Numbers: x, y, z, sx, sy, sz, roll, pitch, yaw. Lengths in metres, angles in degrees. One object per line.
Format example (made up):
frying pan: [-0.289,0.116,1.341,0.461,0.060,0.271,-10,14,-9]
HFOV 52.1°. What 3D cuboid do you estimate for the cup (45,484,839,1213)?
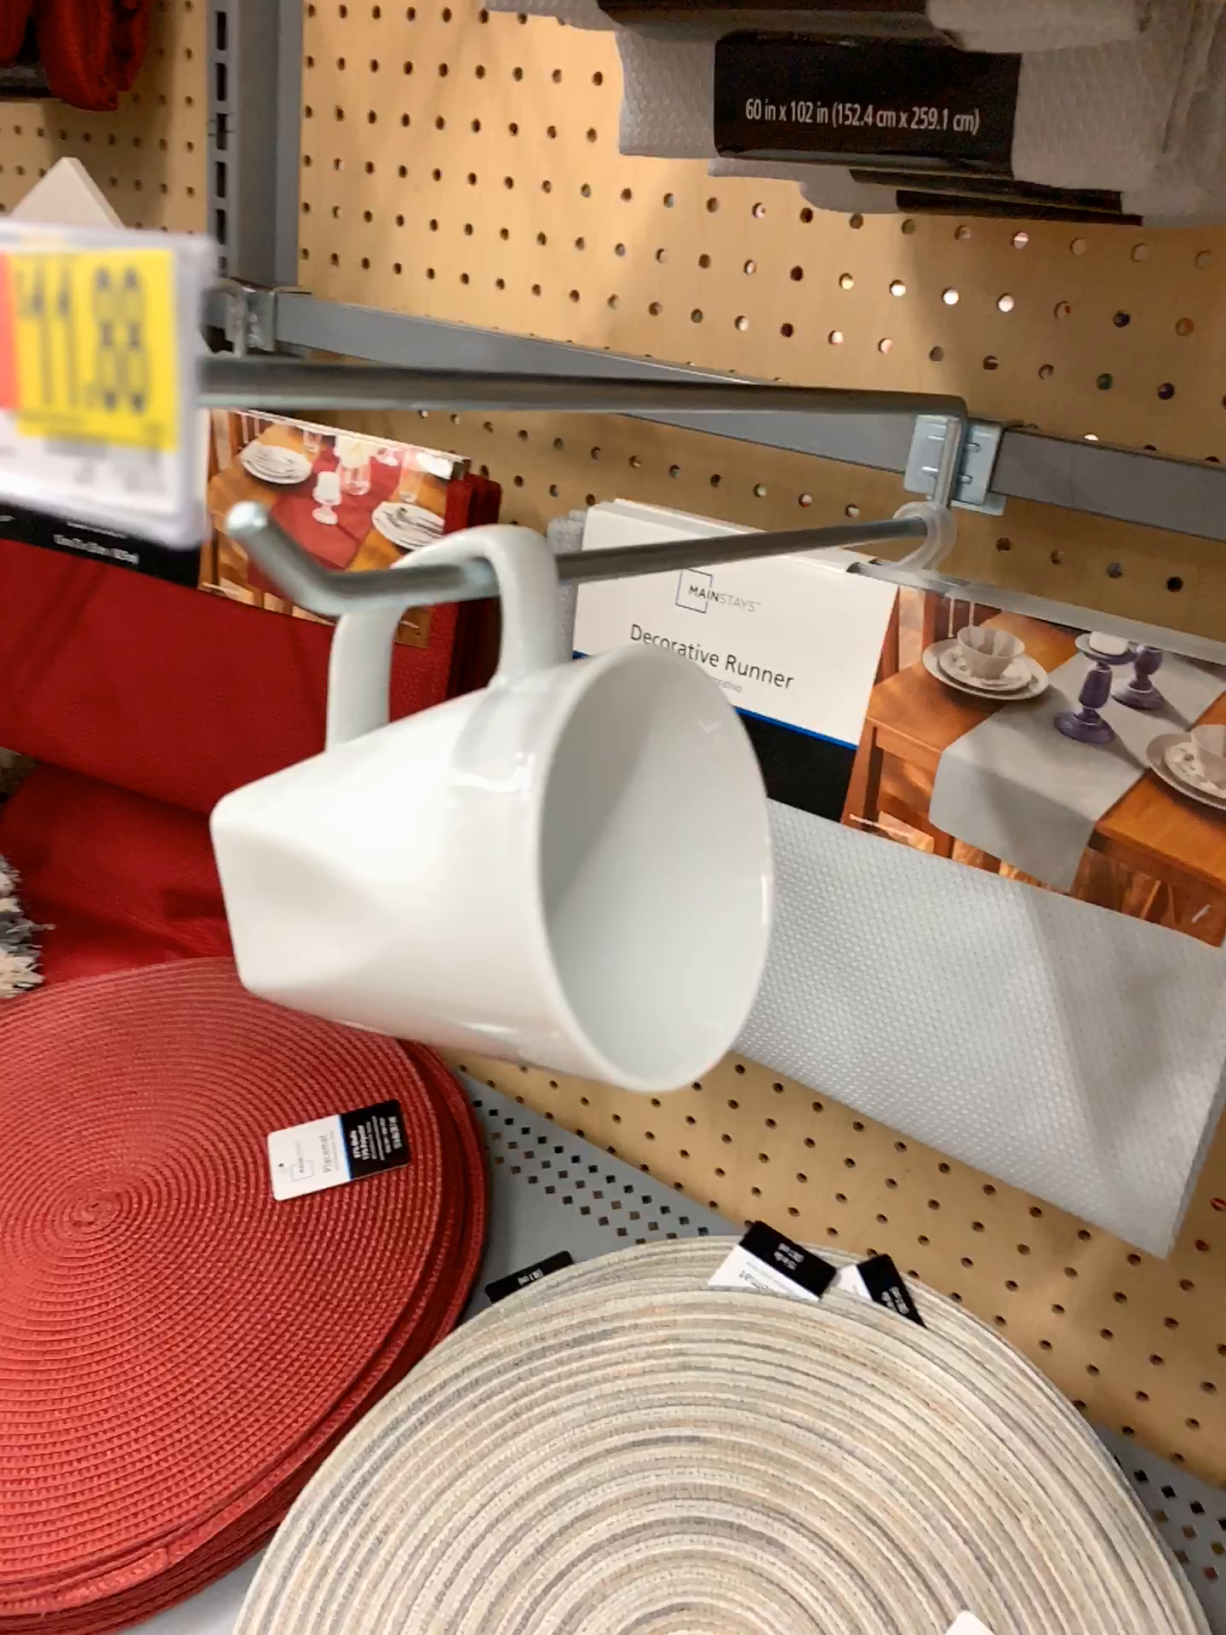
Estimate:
cup: [-0.035,-0.006,0.283,0.140,0.120,0.090,7,20,35]
